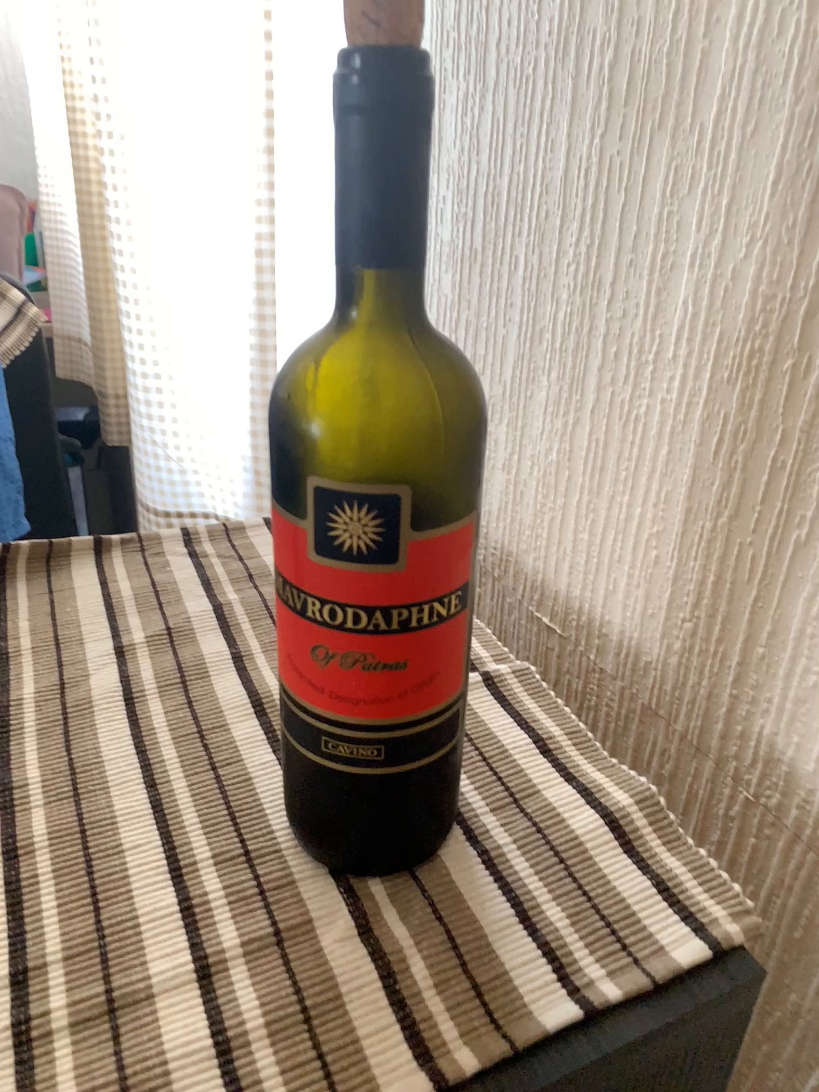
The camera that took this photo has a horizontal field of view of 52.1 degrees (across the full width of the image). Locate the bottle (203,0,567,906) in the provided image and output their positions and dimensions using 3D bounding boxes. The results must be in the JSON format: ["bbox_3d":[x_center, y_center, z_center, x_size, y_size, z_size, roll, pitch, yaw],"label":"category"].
[{"bbox_3d":[-0.006,-0.024,0.294,0.080,0.317,0.081,2,27,-1],"label":"bottle"}]
